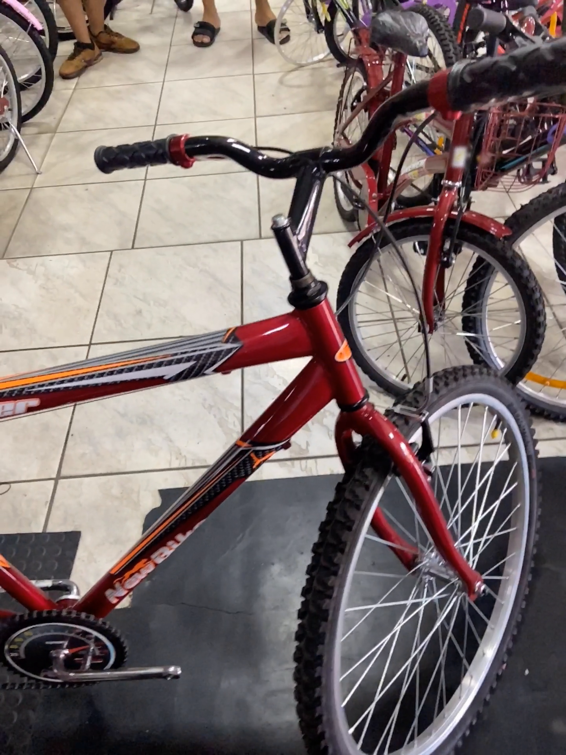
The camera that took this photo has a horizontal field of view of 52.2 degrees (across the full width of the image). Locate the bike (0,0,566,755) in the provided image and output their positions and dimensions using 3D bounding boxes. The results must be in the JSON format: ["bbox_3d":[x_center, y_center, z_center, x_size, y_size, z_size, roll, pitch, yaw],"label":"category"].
[{"bbox_3d":[-0.381,0.068,0.775,1.582,1.029,0.568,-14,49,-3],"label":"bike"}]
